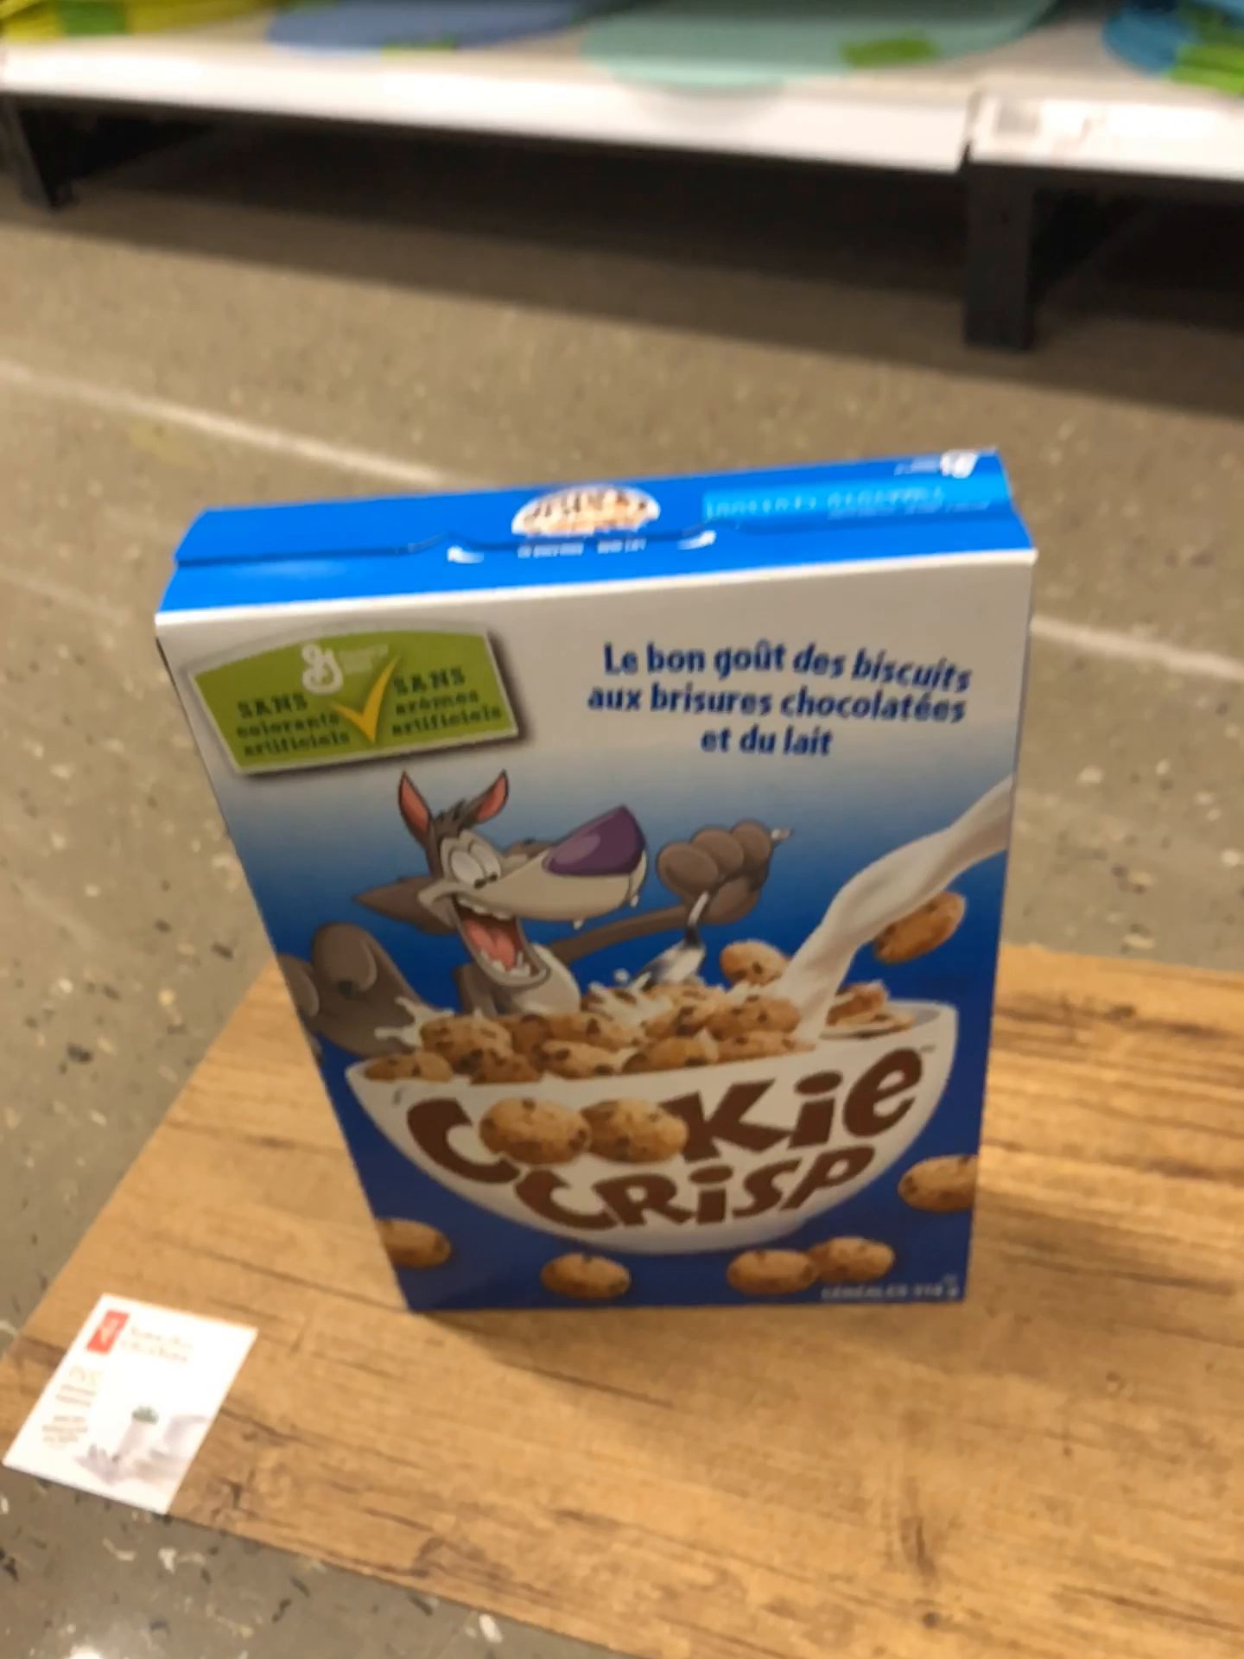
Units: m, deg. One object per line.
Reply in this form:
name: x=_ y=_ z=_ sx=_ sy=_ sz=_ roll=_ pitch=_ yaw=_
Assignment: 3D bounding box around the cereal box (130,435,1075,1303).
cereal box: x=0.008 y=0.034 z=0.401 sx=0.200 sy=0.269 sz=0.060 roll=-3 pitch=40 yaw=6
